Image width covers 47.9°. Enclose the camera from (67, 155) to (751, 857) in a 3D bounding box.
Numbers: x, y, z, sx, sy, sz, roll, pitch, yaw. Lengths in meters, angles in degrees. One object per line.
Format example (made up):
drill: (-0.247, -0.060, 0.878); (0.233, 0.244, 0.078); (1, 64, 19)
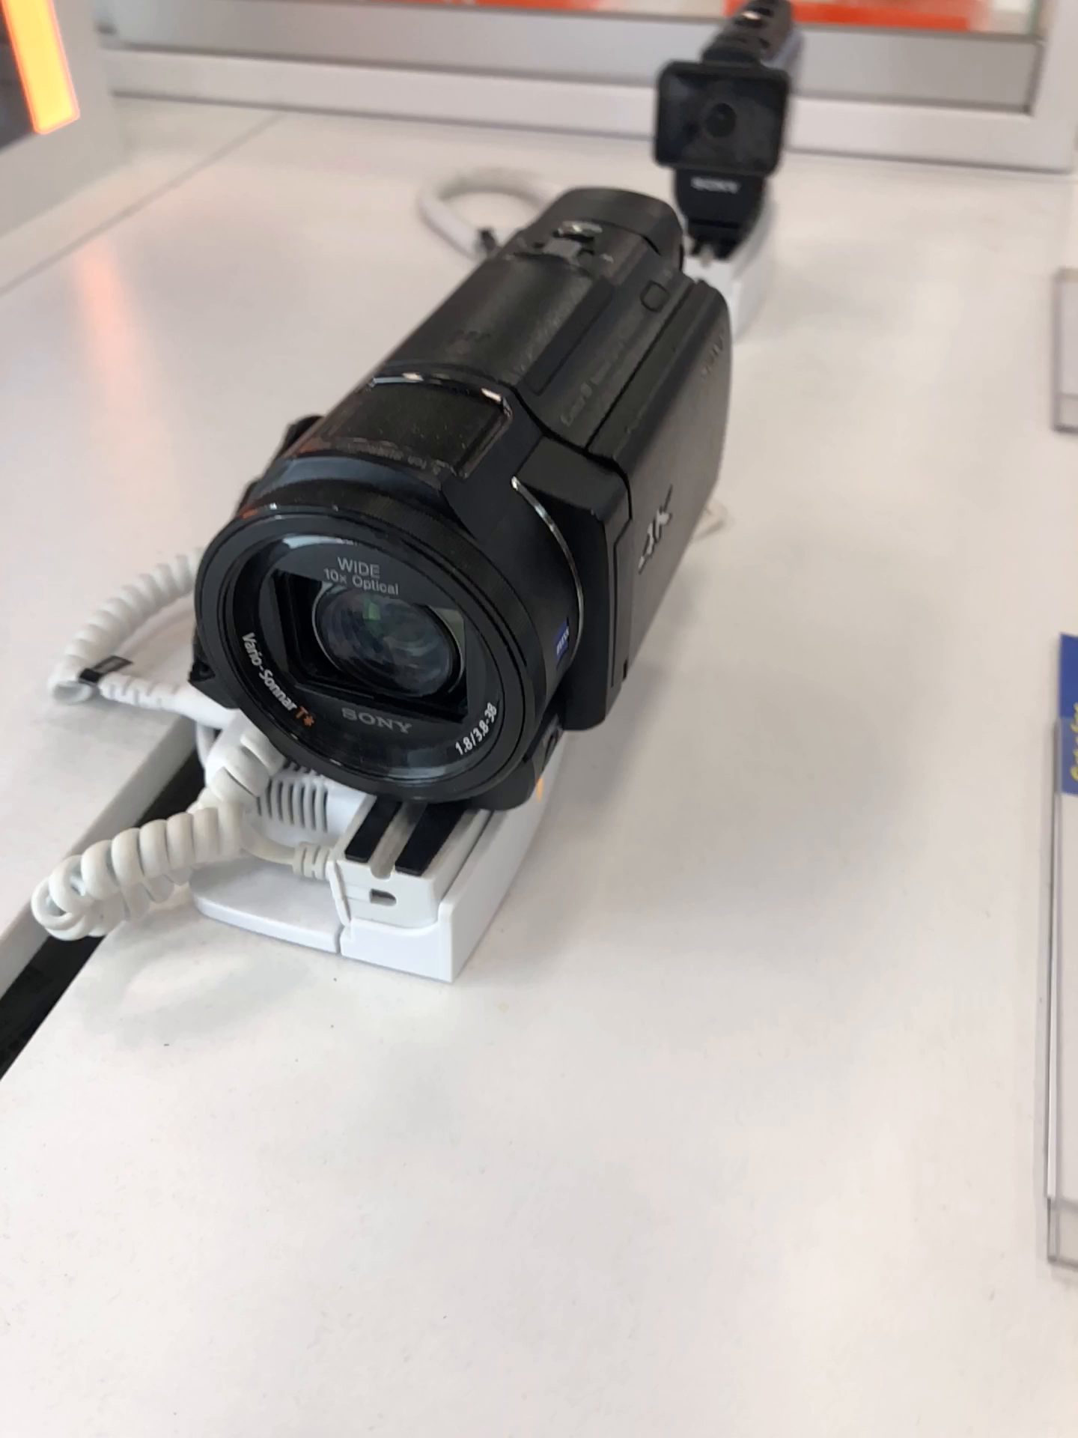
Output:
camera: (-0.013, -0.057, 0.259); (0.080, 0.070, 0.151); (12, 43, 14)
